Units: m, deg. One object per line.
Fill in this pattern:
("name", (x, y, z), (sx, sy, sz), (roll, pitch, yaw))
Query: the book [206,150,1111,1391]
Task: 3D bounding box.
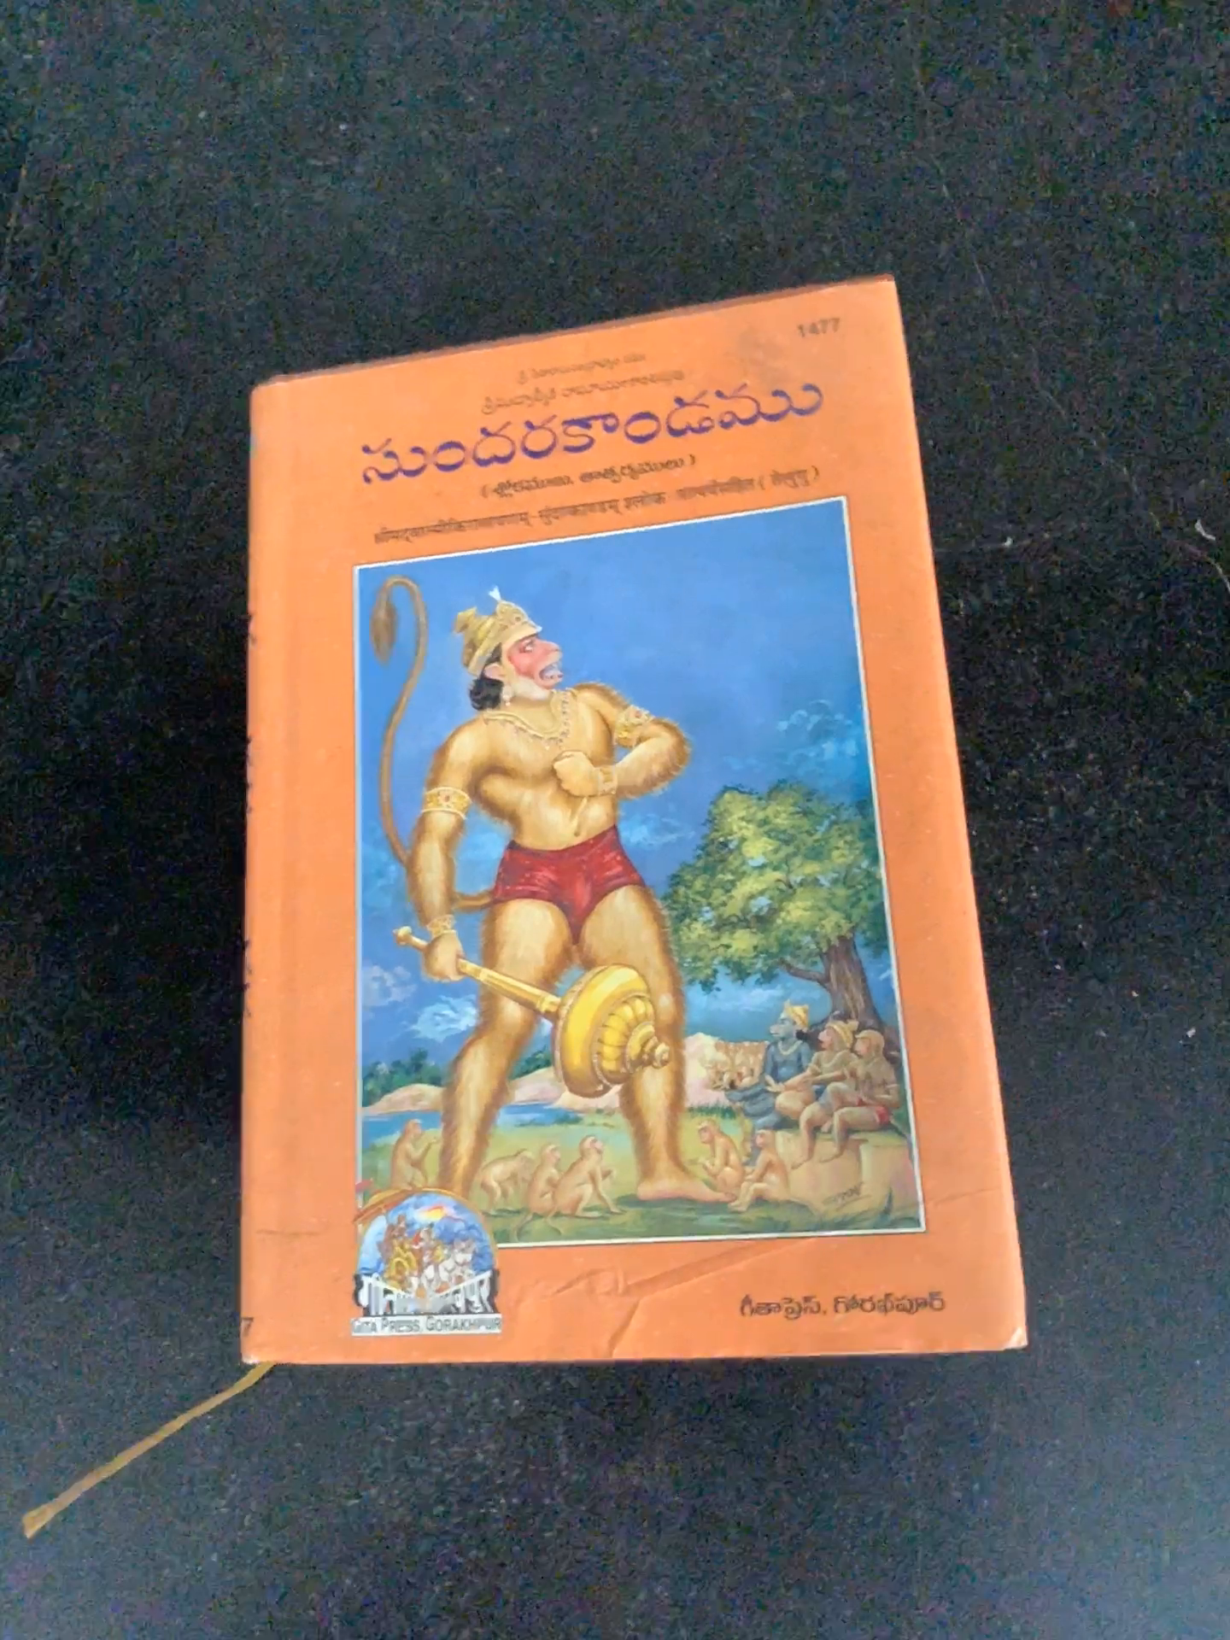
("book", (0.000, -0.018, 0.334), (0.200, 0.040, 0.301), (-5, 76, 9))
